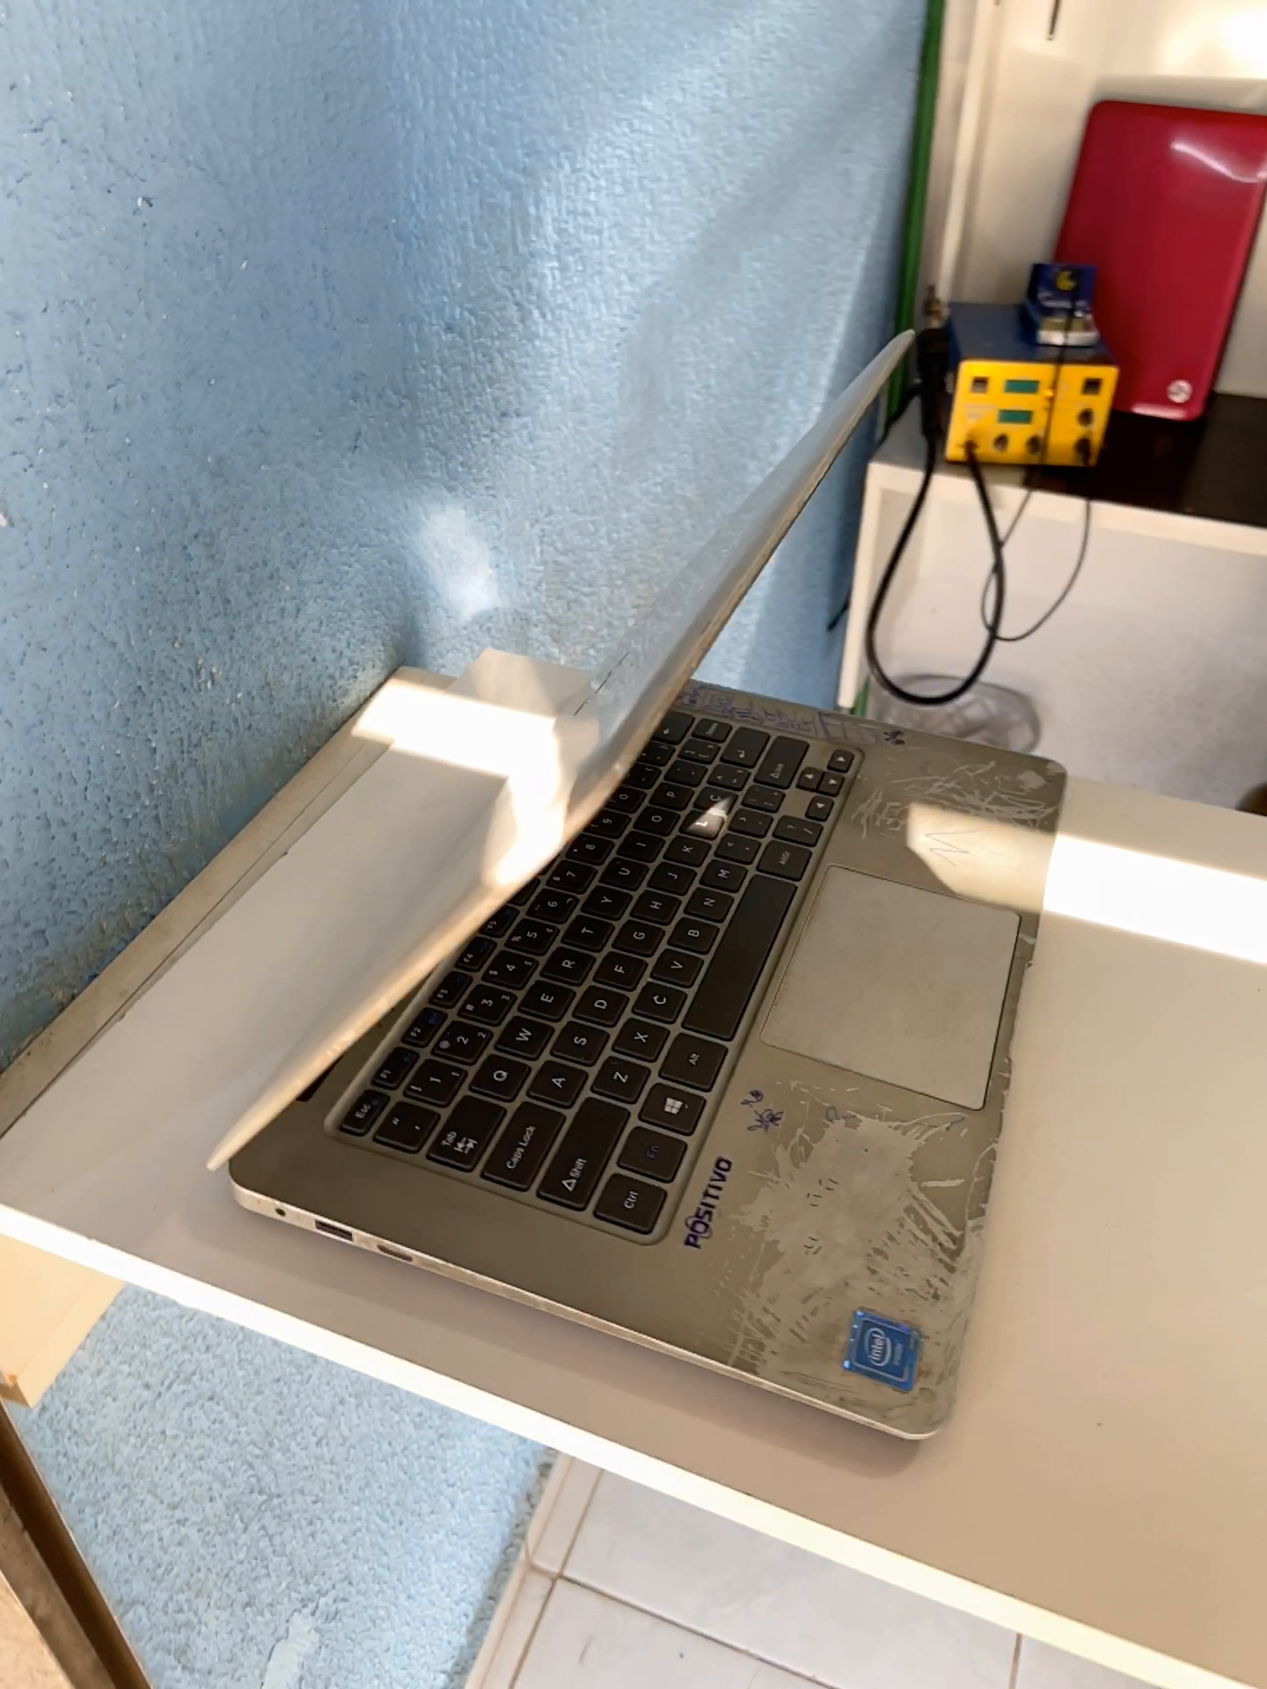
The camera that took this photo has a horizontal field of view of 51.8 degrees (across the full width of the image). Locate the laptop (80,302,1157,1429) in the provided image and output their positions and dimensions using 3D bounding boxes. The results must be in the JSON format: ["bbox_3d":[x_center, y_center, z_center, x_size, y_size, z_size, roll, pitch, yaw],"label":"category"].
[{"bbox_3d":[0.035,-0.036,0.431,0.211,0.167,0.328,14,39,15],"label":"laptop"}]
